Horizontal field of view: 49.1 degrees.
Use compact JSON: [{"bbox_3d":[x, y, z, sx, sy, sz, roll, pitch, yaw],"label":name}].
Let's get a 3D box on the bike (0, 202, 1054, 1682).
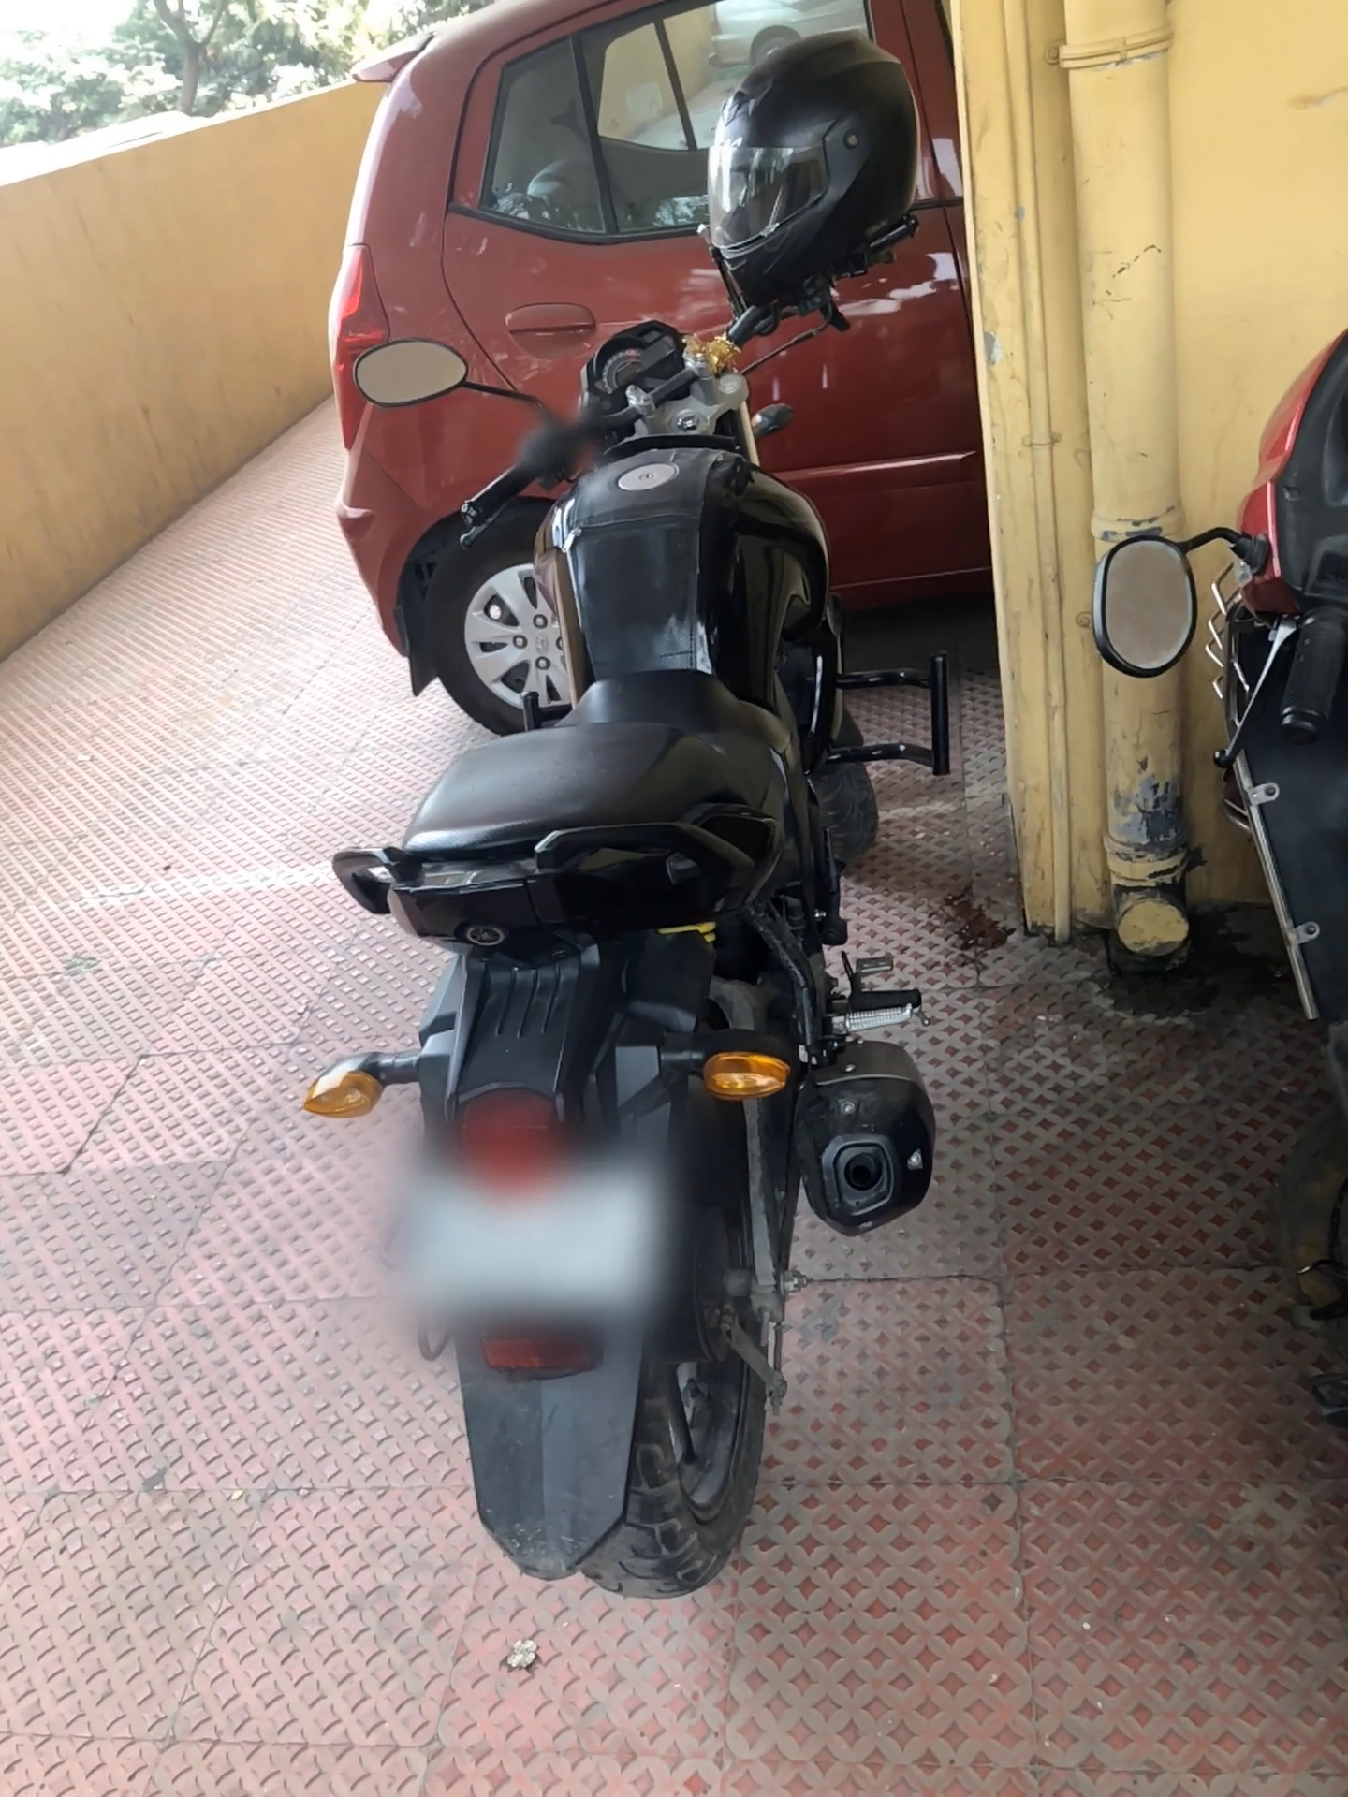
[{"bbox_3d":[-0.077,-0.170,1.898,0.739,1.025,1.791,-7,31,8],"label":"bike"}]
